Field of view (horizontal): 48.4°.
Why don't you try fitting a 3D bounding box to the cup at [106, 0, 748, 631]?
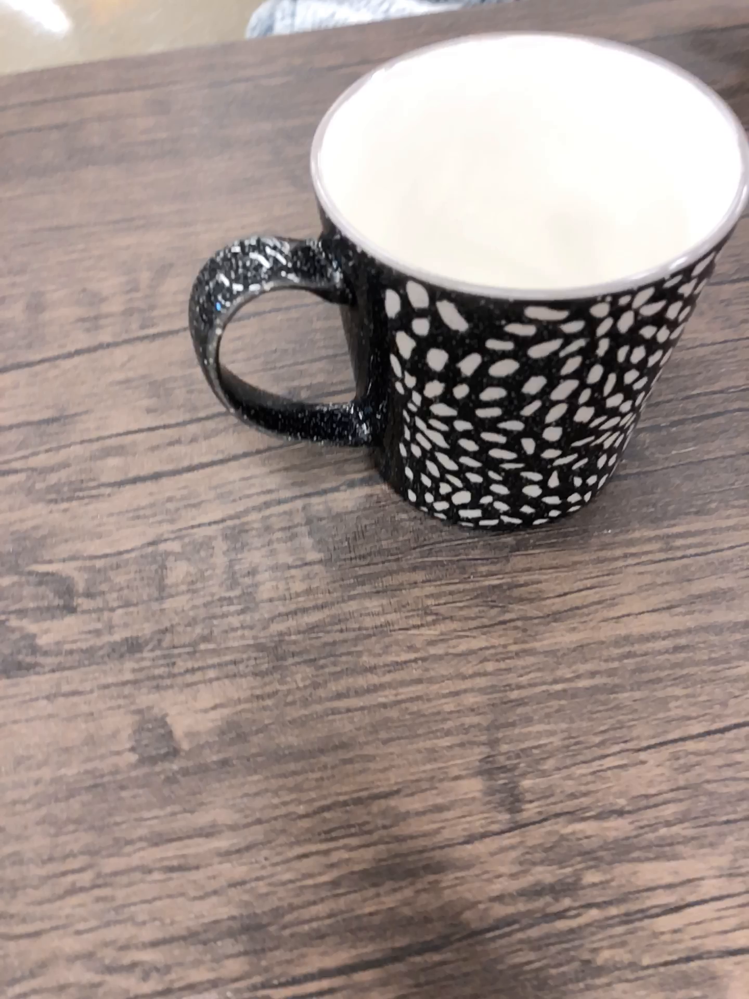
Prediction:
[{"bbox_3d":[0.022,-0.052,0.218,0.140,0.100,0.100,-17,57,-9],"label":"cup"}]
